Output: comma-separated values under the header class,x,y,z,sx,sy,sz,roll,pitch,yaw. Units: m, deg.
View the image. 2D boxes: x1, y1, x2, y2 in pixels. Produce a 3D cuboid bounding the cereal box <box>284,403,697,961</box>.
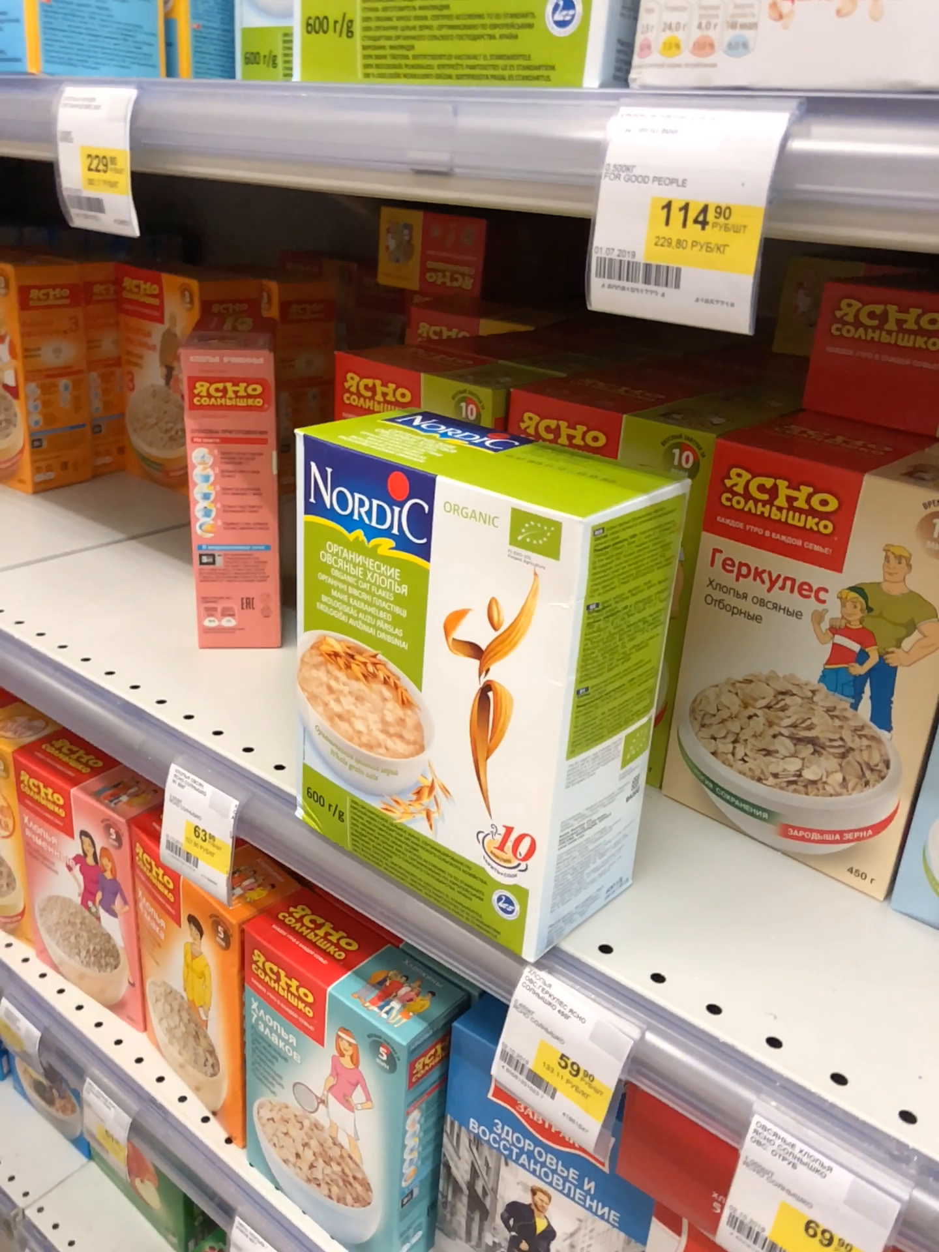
class,x,y,z,sx,sy,sz,roll,pitch,yaw
cereal box,-0.001,0.015,0.454,0.150,0.189,0.080,22,29,35
